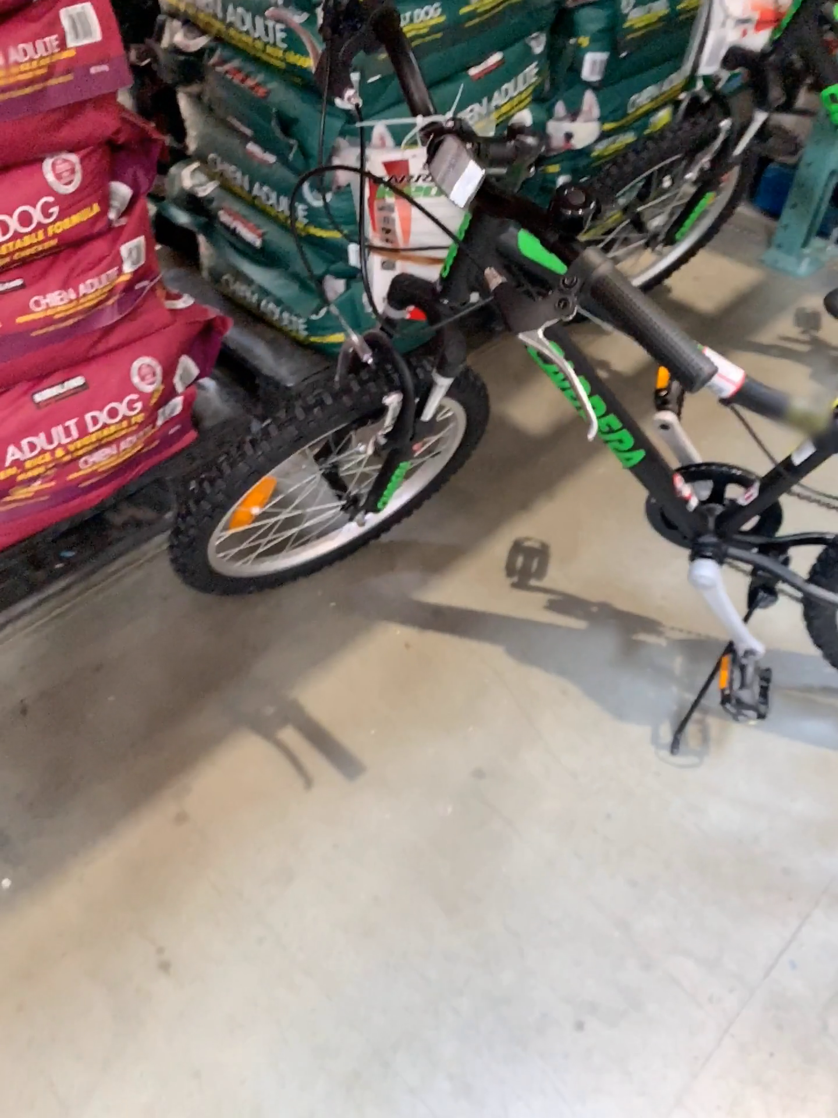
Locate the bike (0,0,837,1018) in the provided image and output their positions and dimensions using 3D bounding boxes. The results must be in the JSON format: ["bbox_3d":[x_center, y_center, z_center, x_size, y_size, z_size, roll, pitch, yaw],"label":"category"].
[{"bbox_3d":[0.344,-0.066,0.932,1.304,0.855,0.711,7,49,3],"label":"bike"}]
